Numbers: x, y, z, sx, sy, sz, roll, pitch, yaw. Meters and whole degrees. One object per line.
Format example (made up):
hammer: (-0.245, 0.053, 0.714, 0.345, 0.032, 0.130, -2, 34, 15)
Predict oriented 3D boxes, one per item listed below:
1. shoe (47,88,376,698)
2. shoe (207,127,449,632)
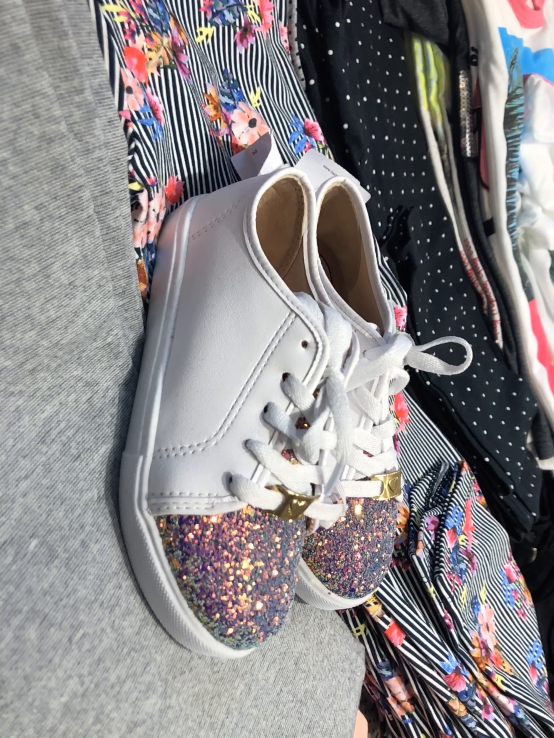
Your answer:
shoe: (-0.015, 0.009, 0.235, 0.080, 0.070, 0.190, 25, 63, -47)
shoe: (0.021, 0.006, 0.291, 0.081, 0.069, 0.200, 11, 73, -43)
